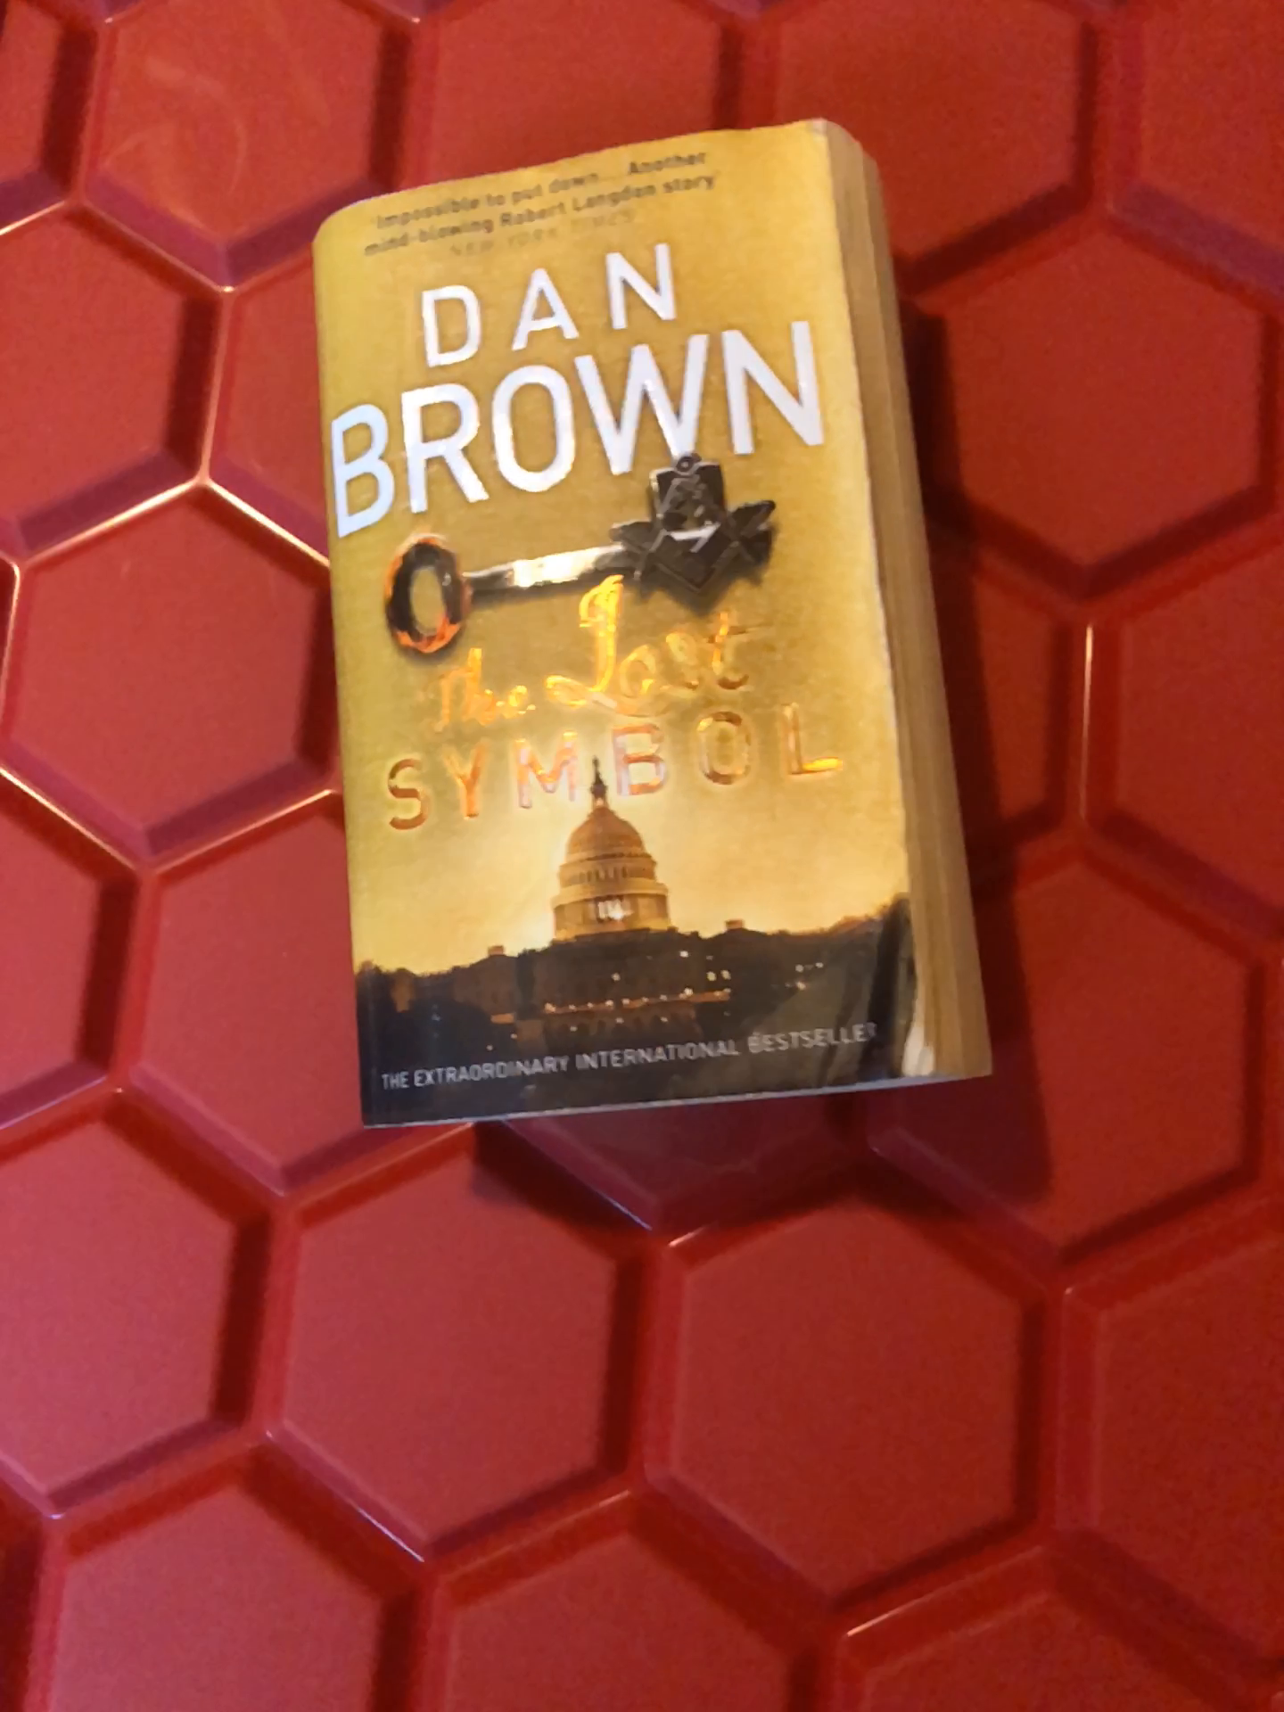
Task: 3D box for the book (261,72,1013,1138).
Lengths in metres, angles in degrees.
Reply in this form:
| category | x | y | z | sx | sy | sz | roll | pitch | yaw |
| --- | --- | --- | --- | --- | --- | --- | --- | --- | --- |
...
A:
| category | x | y | z | sx | sy | sz | roll | pitch | yaw |
| --- | --- | --- | --- | --- | --- | --- | --- | --- | --- |
| book | -0.003 | -0.043 | 0.282 | 0.122 | 0.051 | 0.183 | -6 | 80 | 9 |
